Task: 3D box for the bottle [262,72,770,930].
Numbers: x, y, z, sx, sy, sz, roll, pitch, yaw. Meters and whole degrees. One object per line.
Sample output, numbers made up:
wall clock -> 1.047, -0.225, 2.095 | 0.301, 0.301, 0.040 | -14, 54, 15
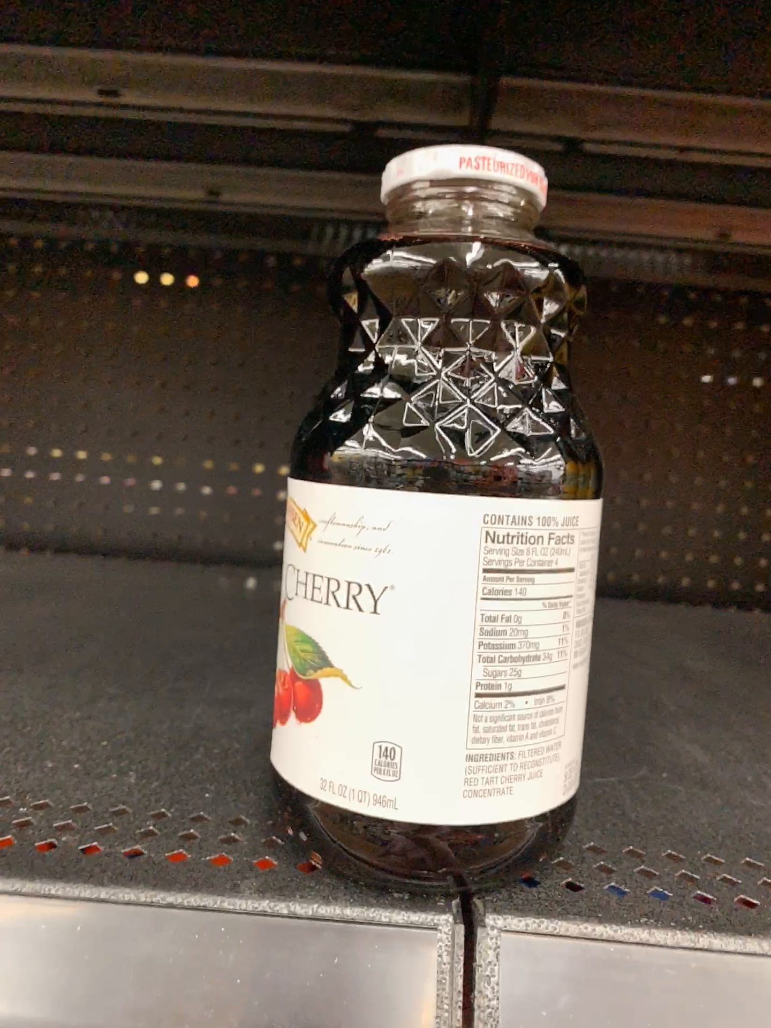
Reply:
bottle -> 0.027, -0.001, 0.248 | 0.110, 0.200, 0.100 | 4, 5, 0
